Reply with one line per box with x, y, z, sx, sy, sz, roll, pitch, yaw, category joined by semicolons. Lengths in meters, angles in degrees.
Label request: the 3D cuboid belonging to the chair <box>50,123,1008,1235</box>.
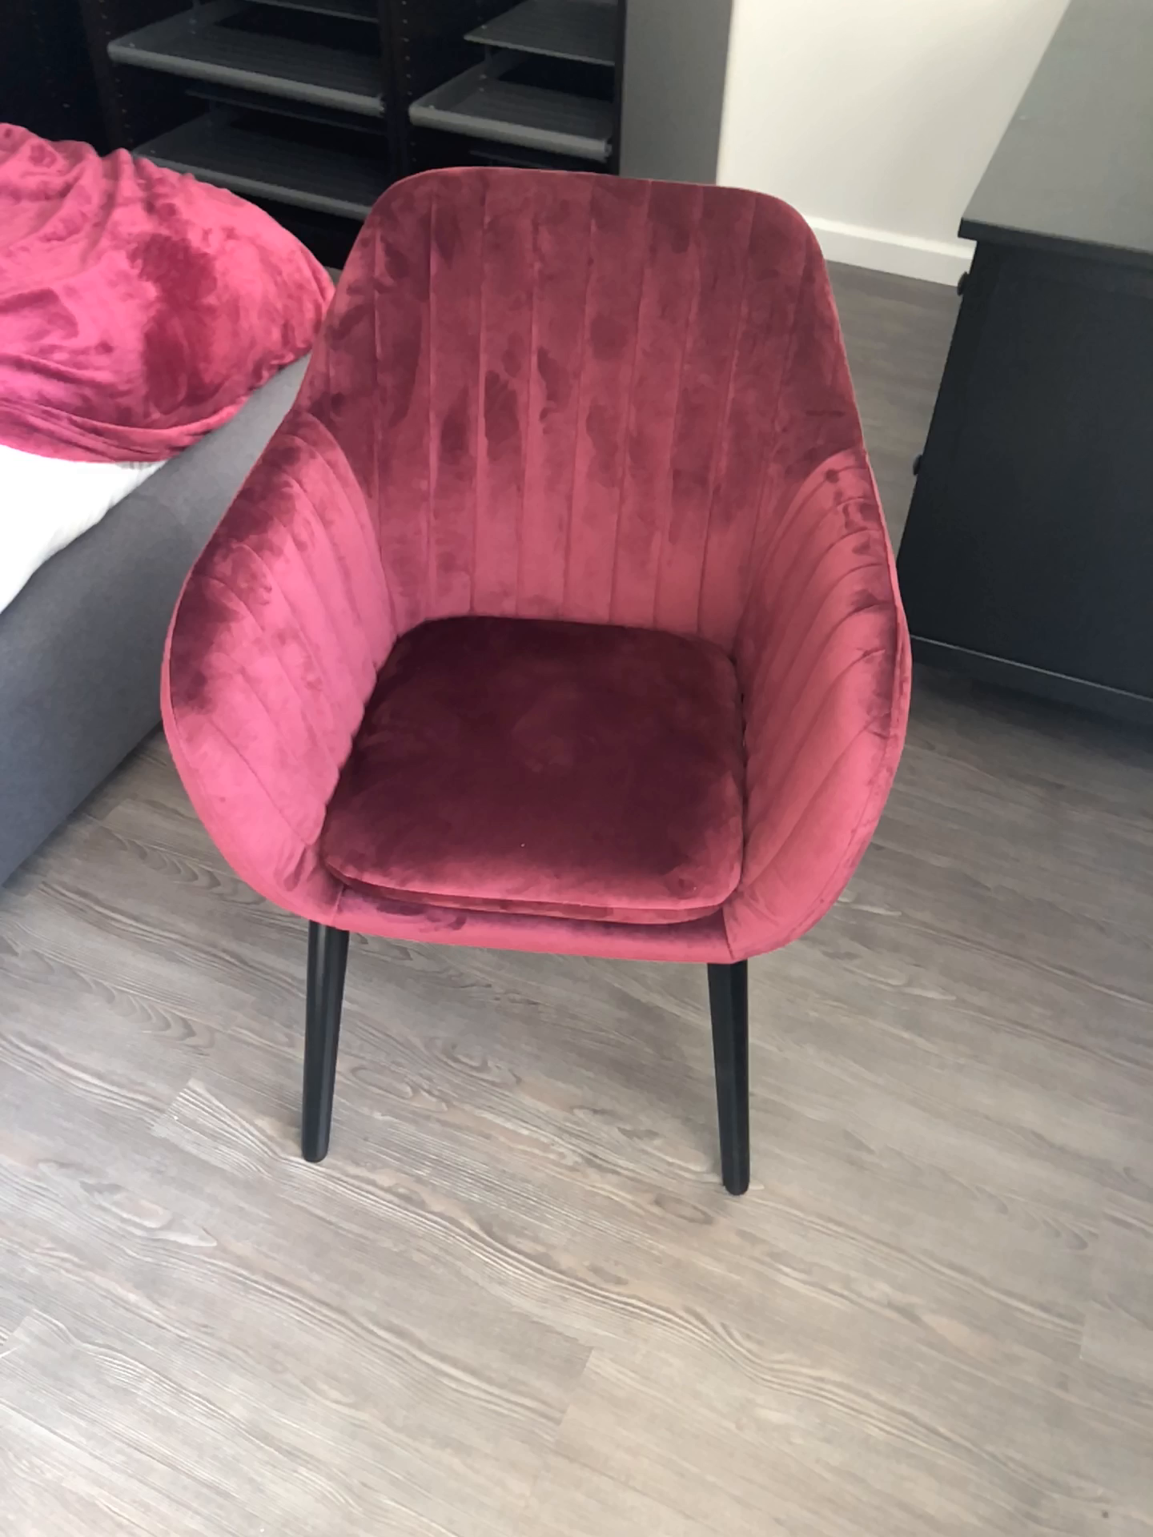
-0.012;-0.049;1.193;0.540;0.835;0.553;7;45;4;chair
